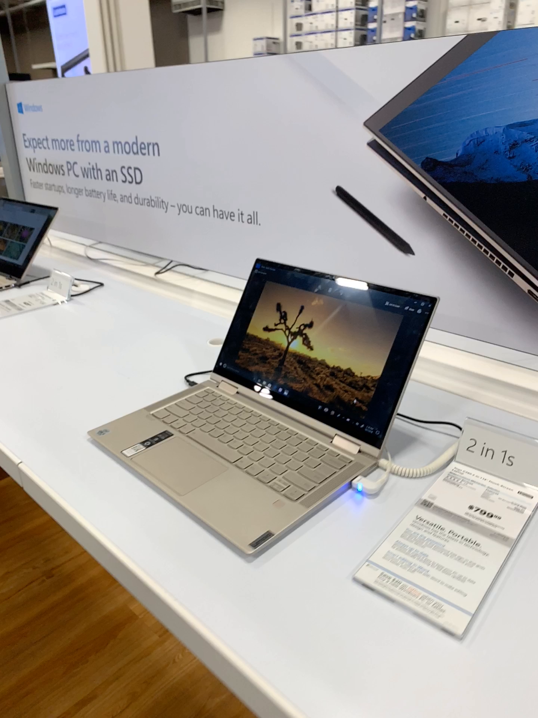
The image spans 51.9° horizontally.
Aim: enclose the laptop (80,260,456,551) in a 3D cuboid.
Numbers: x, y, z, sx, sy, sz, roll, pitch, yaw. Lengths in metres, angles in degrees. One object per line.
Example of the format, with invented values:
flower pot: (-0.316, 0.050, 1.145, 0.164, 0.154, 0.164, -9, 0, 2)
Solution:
laptop: (-0.001, 0.014, 0.703, 0.329, 0.170, 0.310, -23, 31, -38)
